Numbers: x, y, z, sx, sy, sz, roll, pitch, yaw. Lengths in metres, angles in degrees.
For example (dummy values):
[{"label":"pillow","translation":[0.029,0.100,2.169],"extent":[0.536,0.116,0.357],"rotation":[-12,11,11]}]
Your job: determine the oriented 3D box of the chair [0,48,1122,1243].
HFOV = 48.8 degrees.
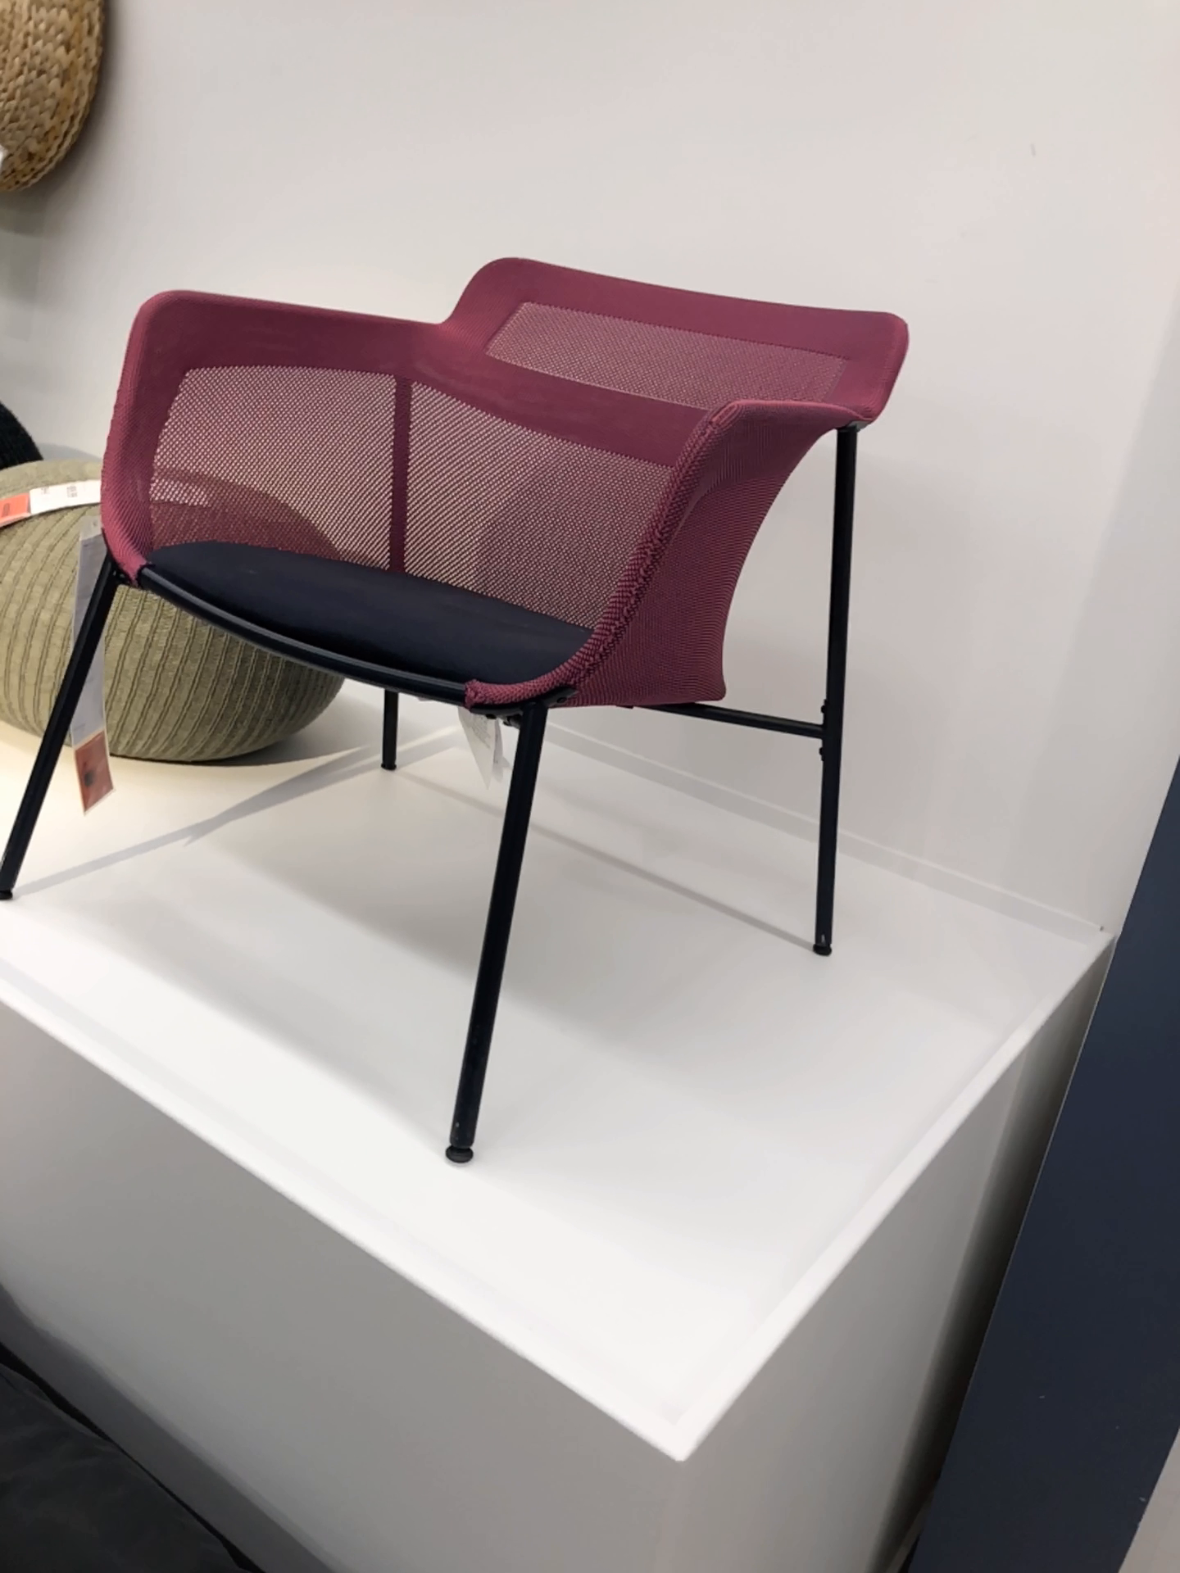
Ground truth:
[{"label":"chair","translation":[-0.027,-0.235,1.426],"extent":[0.781,0.747,1.013],"rotation":[21,21,28]}]
